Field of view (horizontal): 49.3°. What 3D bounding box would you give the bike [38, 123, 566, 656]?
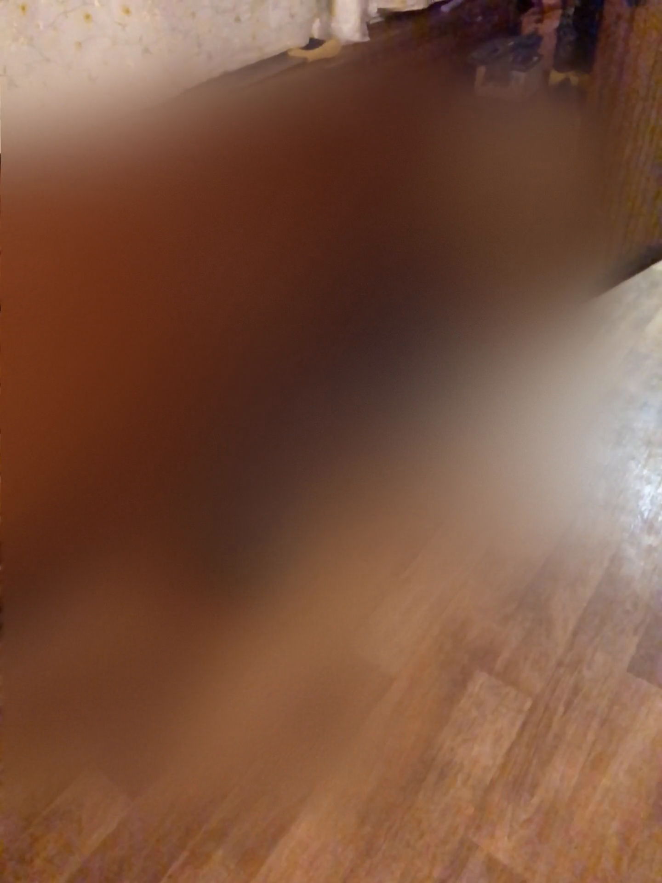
[{"bbox_3d":[0.014,-0.204,1.633,0.594,0.698,0.960,25,45,28],"label":"bike"}]
